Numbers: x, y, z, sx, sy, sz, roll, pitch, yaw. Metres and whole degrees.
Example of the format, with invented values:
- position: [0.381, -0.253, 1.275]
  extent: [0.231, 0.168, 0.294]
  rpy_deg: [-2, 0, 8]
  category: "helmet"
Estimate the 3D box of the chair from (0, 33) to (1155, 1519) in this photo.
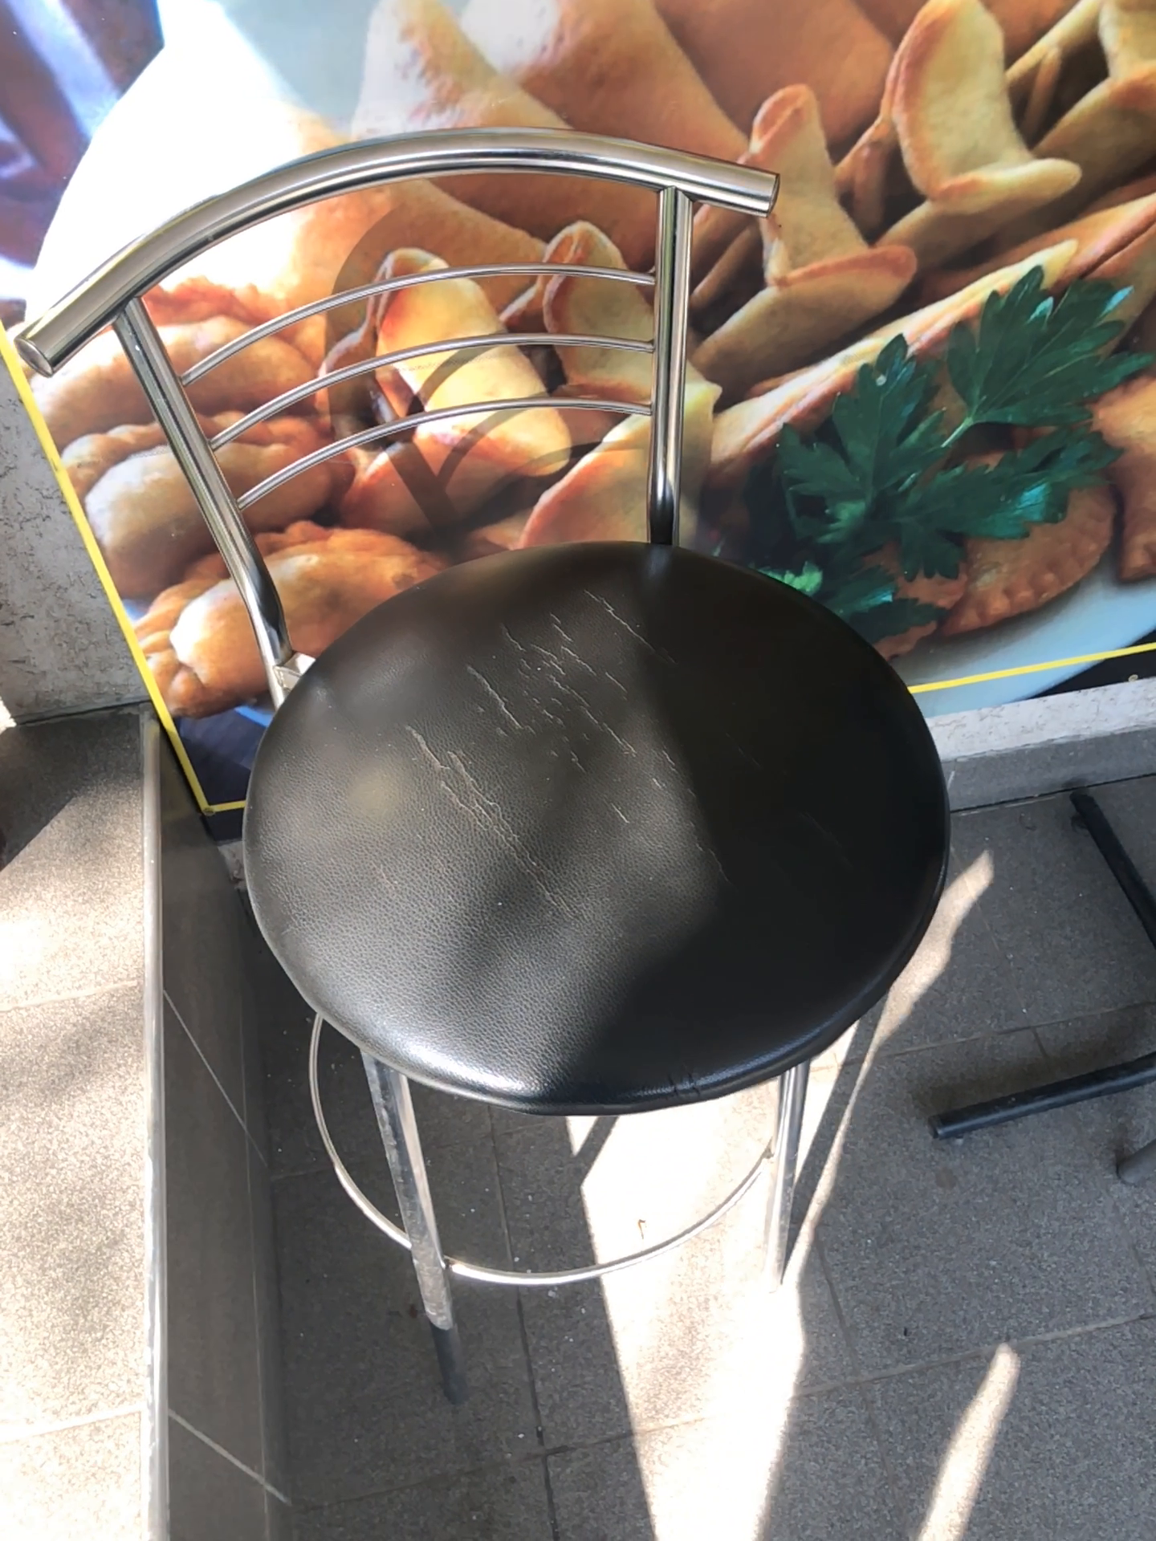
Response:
- position: [-0.018, 0.112, 0.907]
  extent: [0.480, 0.937, 0.481]
  rpy_deg: [-17, 54, -11]
  category: "chair"
